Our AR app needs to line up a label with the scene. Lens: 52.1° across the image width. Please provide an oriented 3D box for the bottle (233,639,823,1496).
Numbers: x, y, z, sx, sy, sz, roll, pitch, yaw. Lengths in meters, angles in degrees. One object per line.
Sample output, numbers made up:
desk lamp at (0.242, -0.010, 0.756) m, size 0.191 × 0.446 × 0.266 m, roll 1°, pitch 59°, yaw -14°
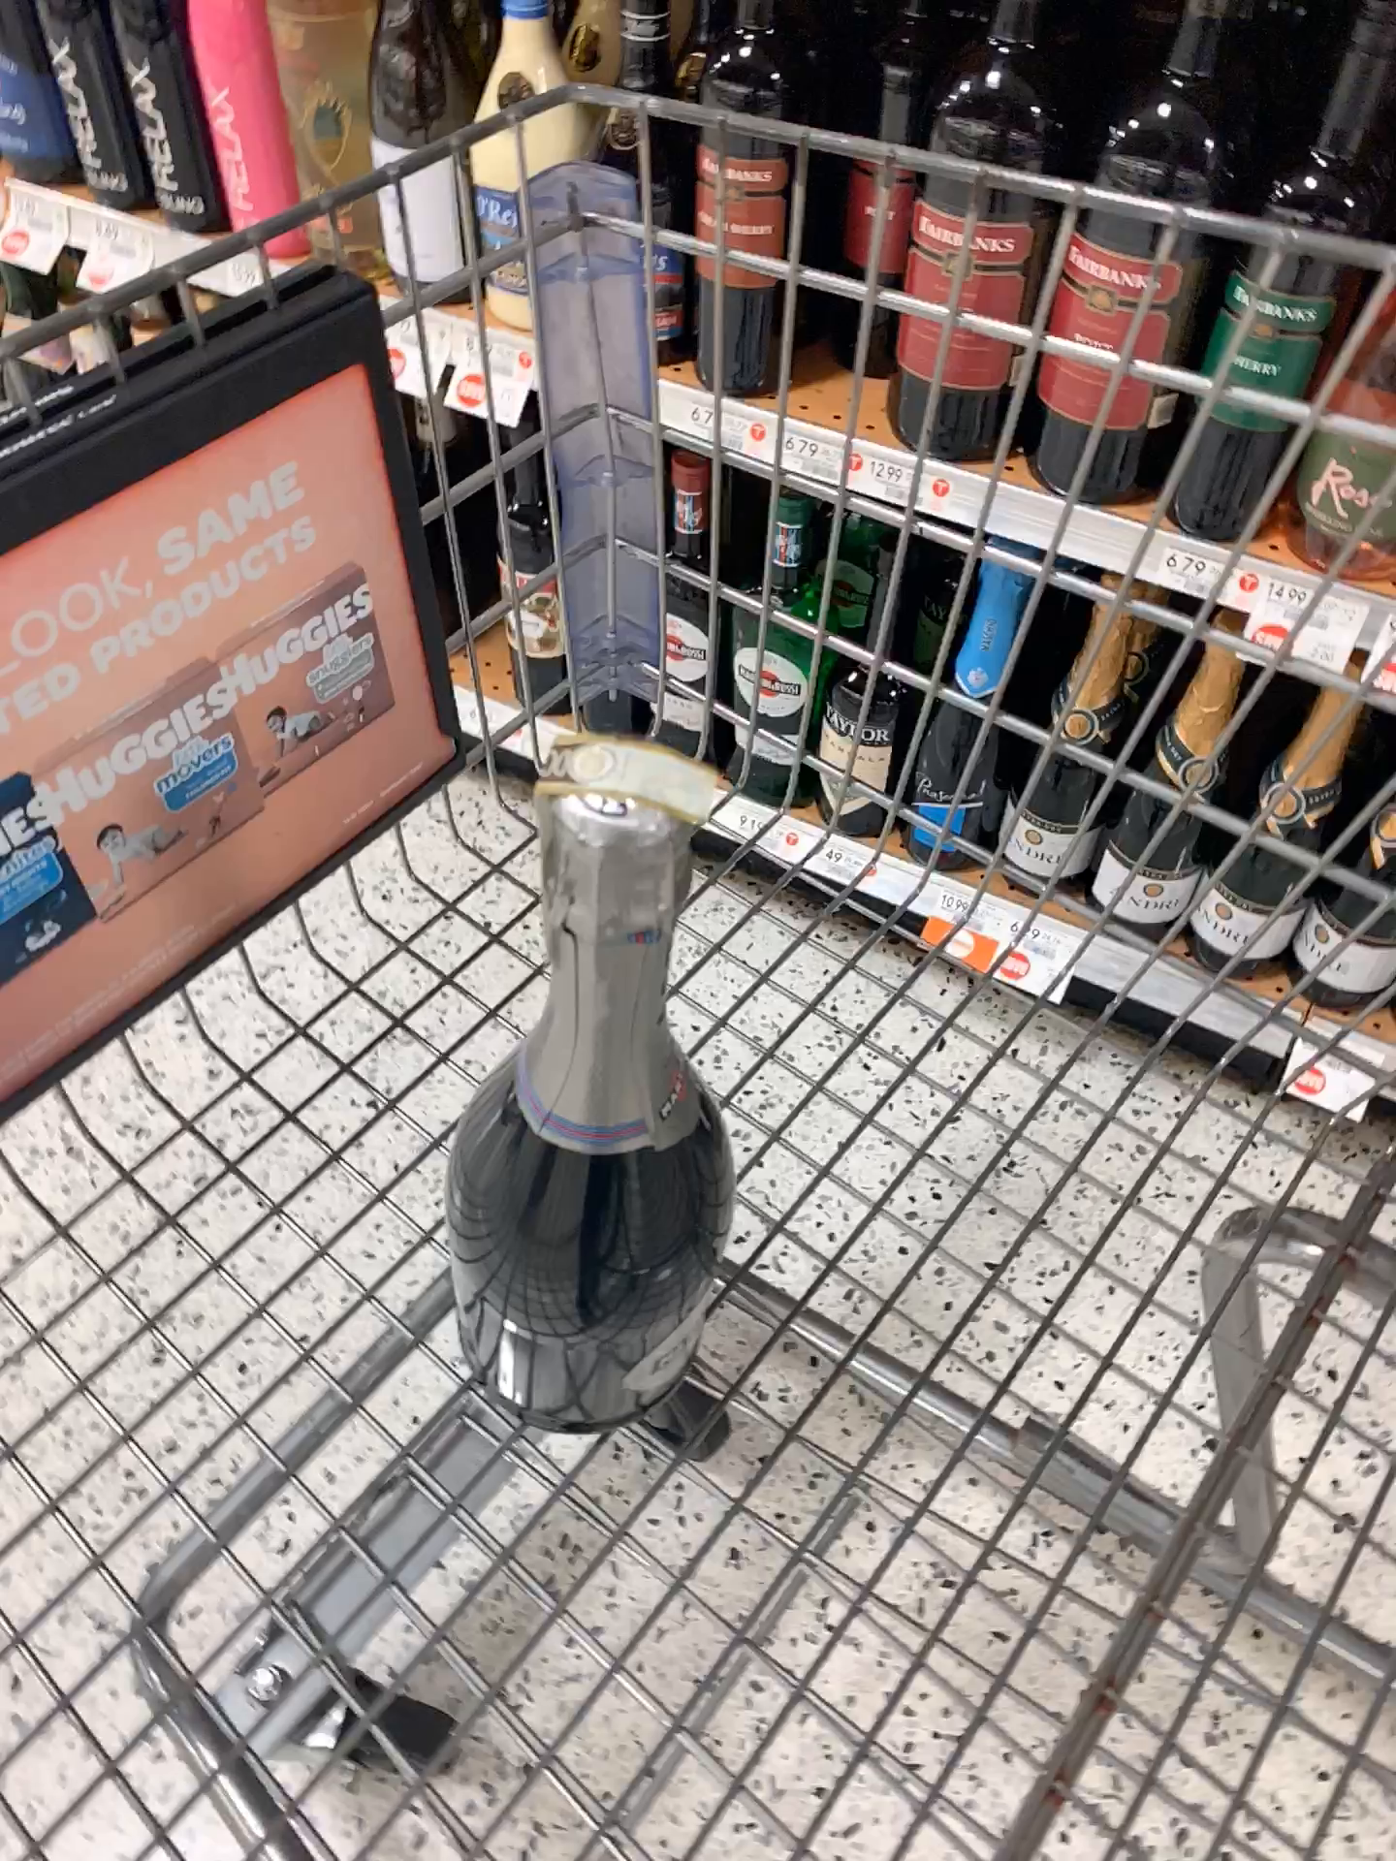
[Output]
bottle at (-0.041, 0.067, 0.480) m, size 0.110 × 0.297 × 0.111 m, roll 0°, pitch 51°, yaw 0°
